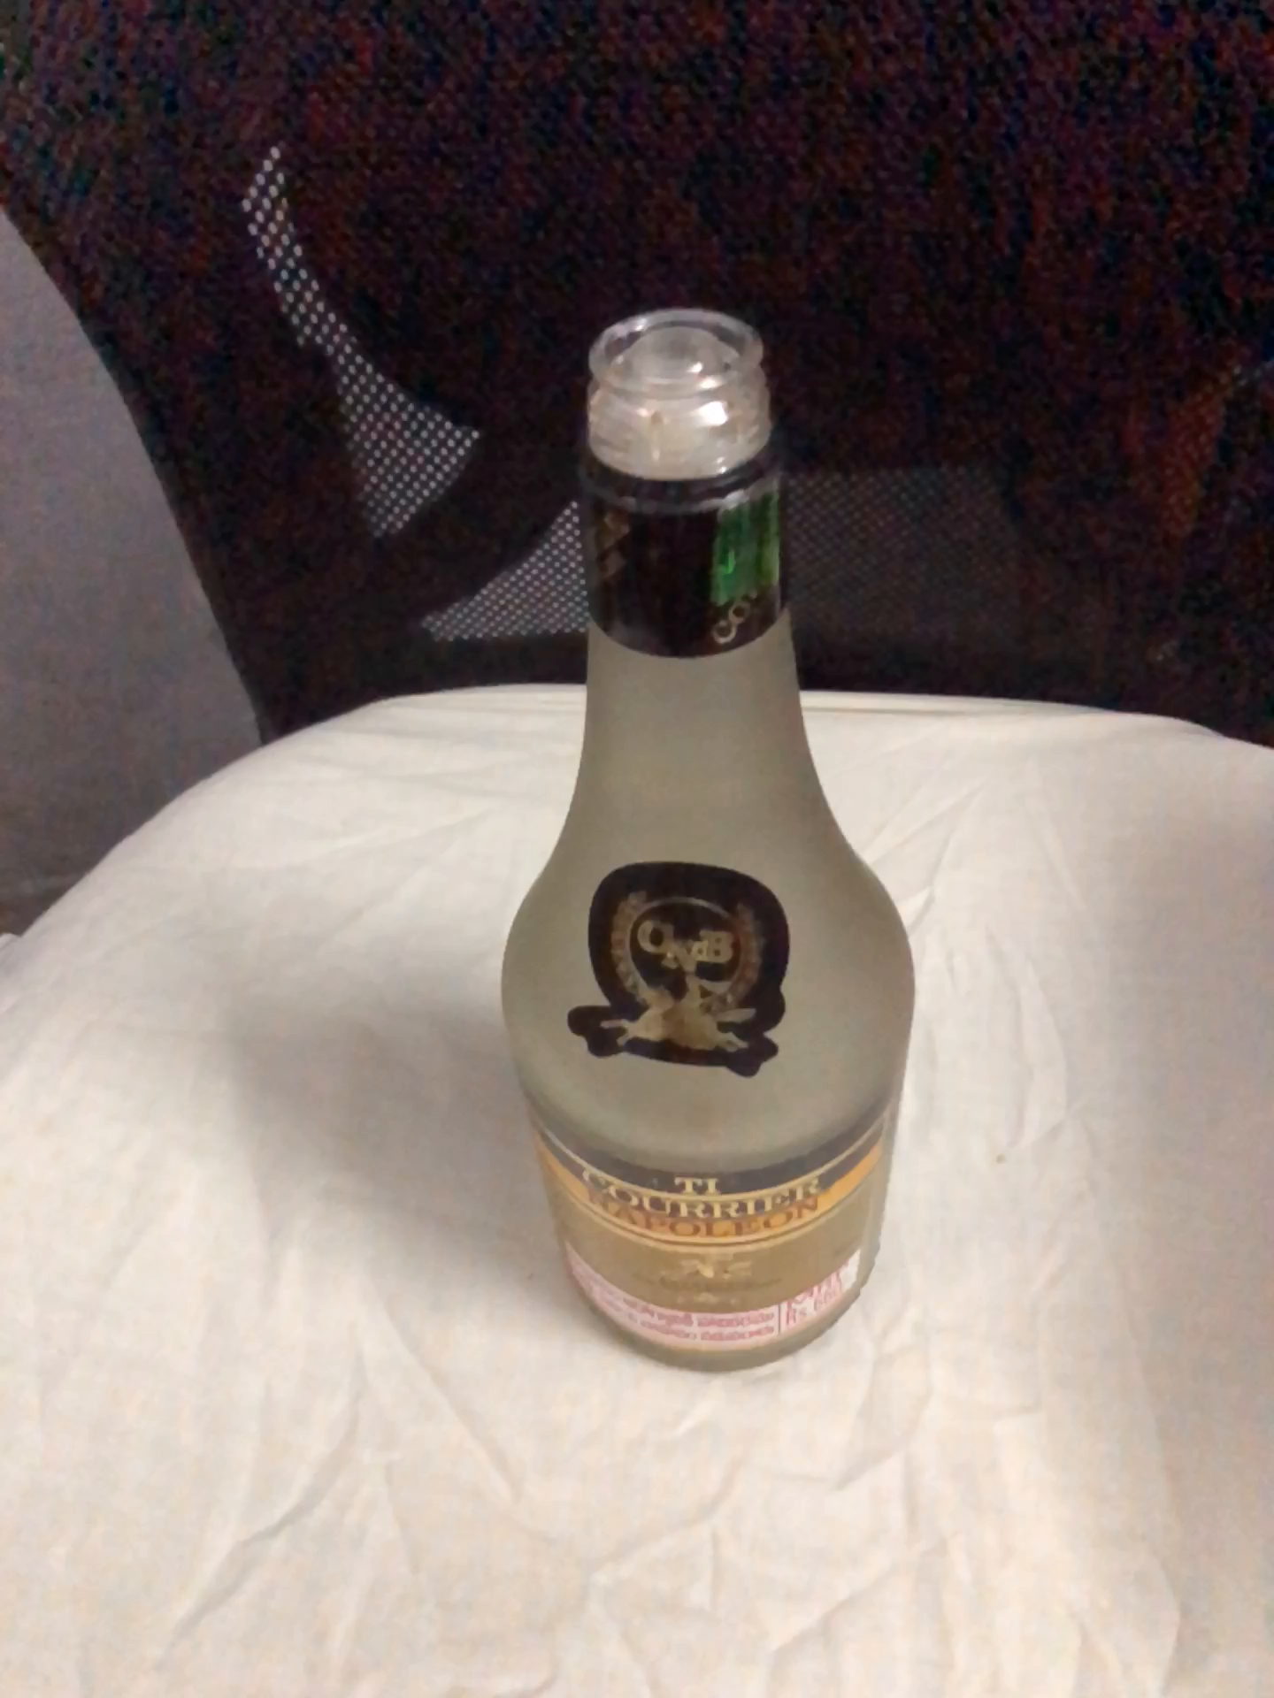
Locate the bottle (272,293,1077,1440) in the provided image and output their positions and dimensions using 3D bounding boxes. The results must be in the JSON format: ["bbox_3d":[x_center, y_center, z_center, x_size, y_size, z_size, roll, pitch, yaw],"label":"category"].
[{"bbox_3d":[0.011,0.027,0.273,0.090,0.239,0.080,3,48,5],"label":"bottle"}]
